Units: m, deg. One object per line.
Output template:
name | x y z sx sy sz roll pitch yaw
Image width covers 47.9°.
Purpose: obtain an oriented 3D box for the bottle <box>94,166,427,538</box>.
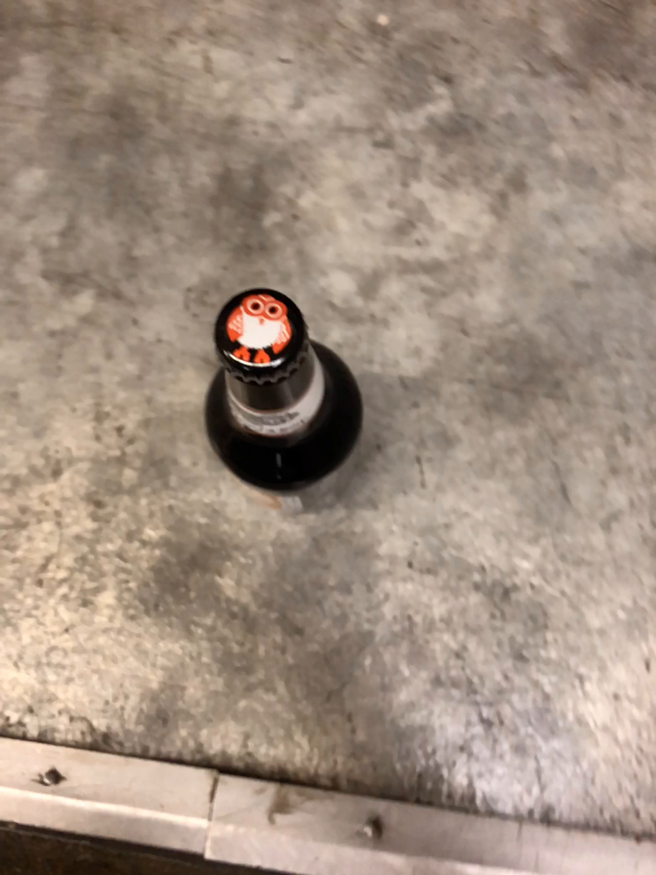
bottle | -0.017 -0.014 0.293 0.069 0.181 0.063 0 77 2
